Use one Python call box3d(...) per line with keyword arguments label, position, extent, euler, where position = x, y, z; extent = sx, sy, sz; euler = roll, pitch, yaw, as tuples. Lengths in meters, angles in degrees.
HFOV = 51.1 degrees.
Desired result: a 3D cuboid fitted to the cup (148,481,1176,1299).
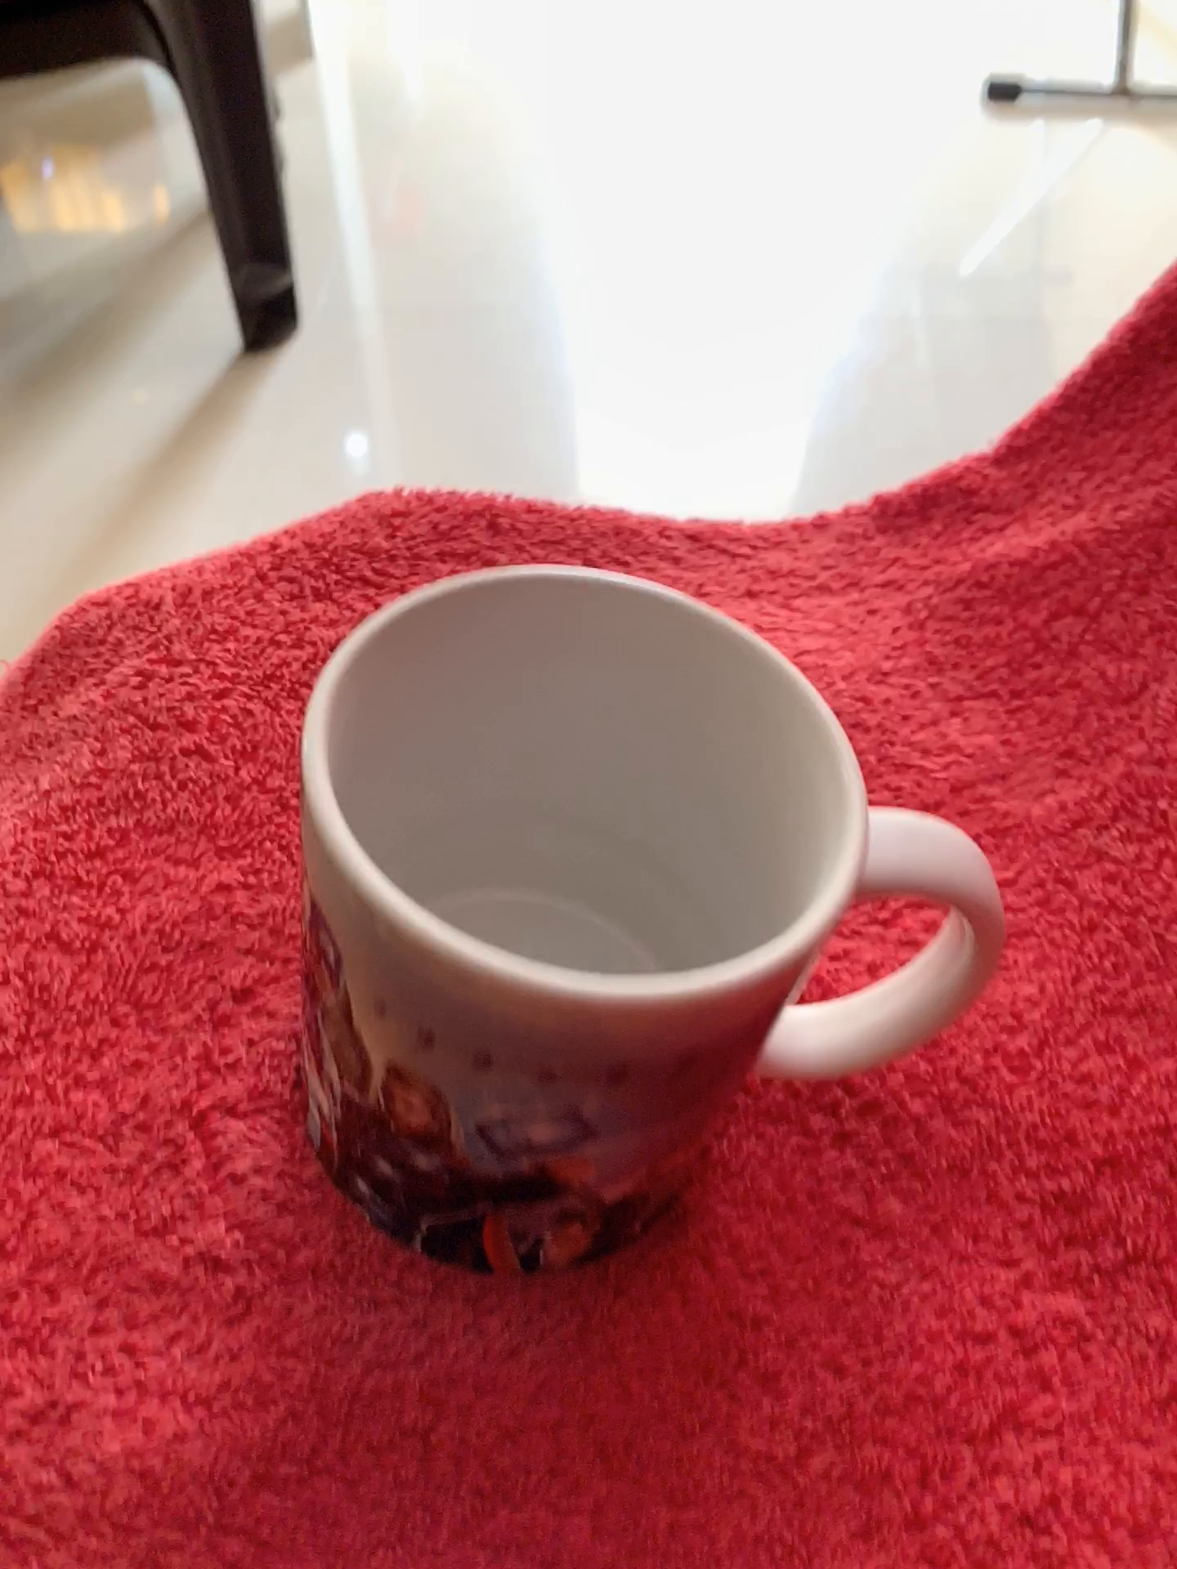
box3d(label="cup", position=(0.006, 0.022, 0.204), extent=(0.120, 0.089, 0.091), euler=(6, 53, -5))
